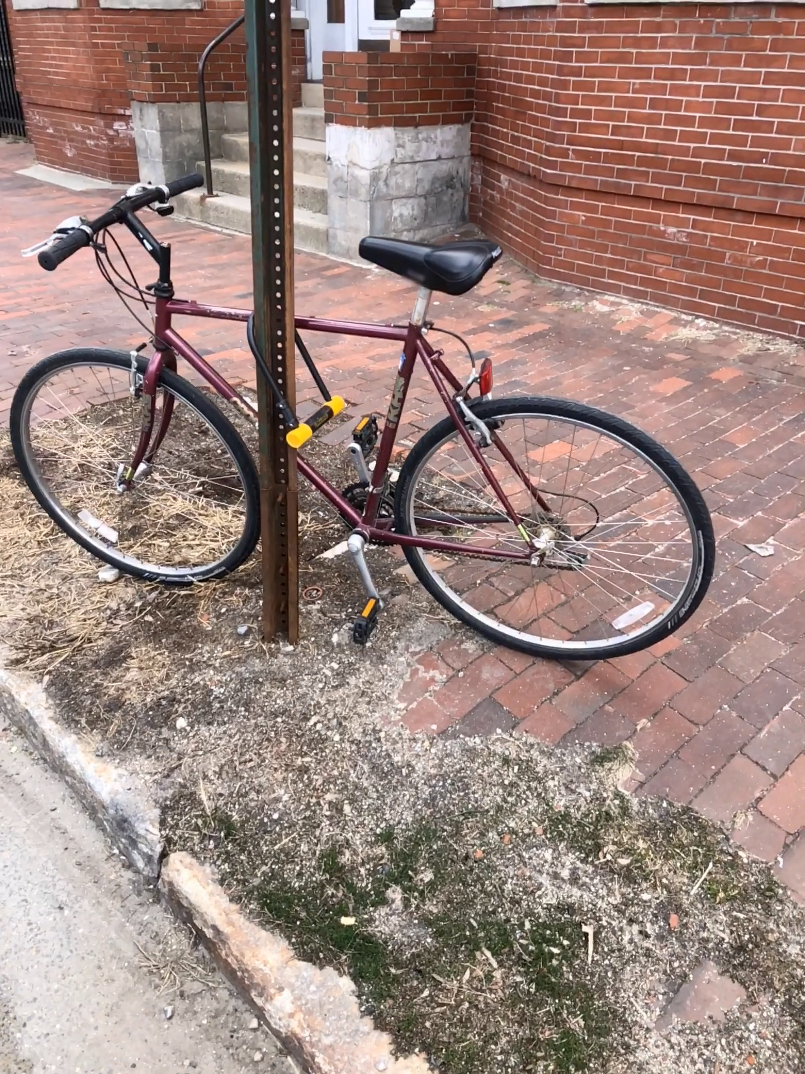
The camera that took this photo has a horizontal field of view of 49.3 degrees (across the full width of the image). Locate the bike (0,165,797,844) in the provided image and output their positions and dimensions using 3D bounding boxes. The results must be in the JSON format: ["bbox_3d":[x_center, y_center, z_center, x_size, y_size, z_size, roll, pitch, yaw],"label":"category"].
[{"bbox_3d":[-0.195,-0.181,1.914,1.727,1.011,0.671,11,30,17],"label":"bike"}]
